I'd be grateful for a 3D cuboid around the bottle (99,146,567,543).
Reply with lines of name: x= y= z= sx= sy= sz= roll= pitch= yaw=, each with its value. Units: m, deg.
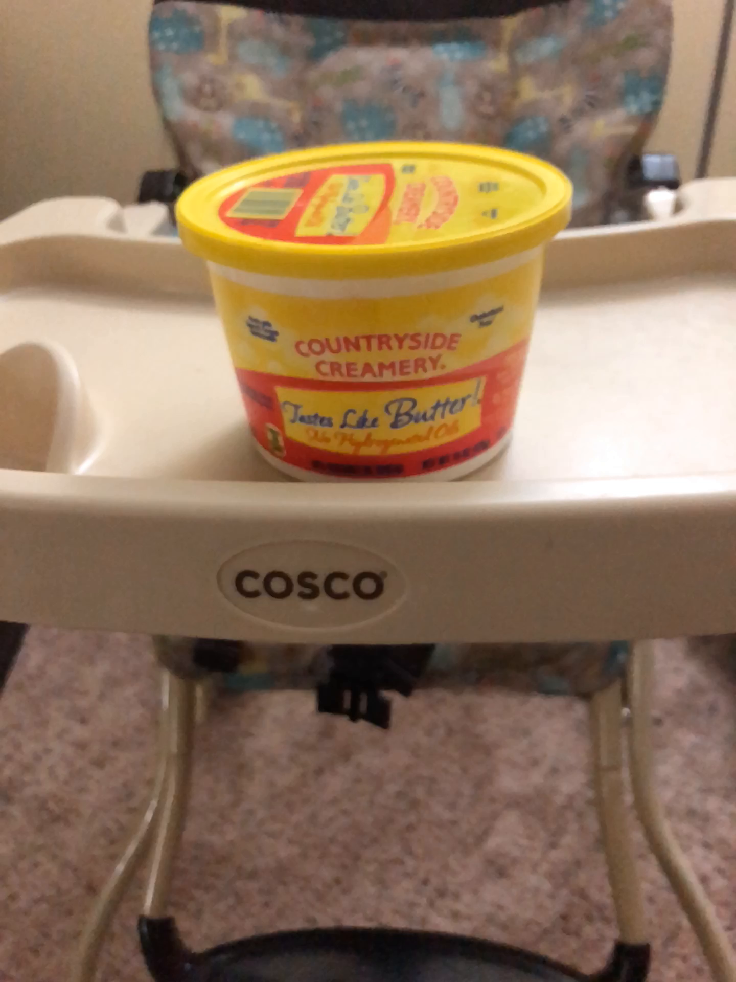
bottle: x=-0.002 y=-0.055 z=0.280 sx=0.120 sy=0.090 sz=0.110 roll=-2 pitch=34 yaw=2
